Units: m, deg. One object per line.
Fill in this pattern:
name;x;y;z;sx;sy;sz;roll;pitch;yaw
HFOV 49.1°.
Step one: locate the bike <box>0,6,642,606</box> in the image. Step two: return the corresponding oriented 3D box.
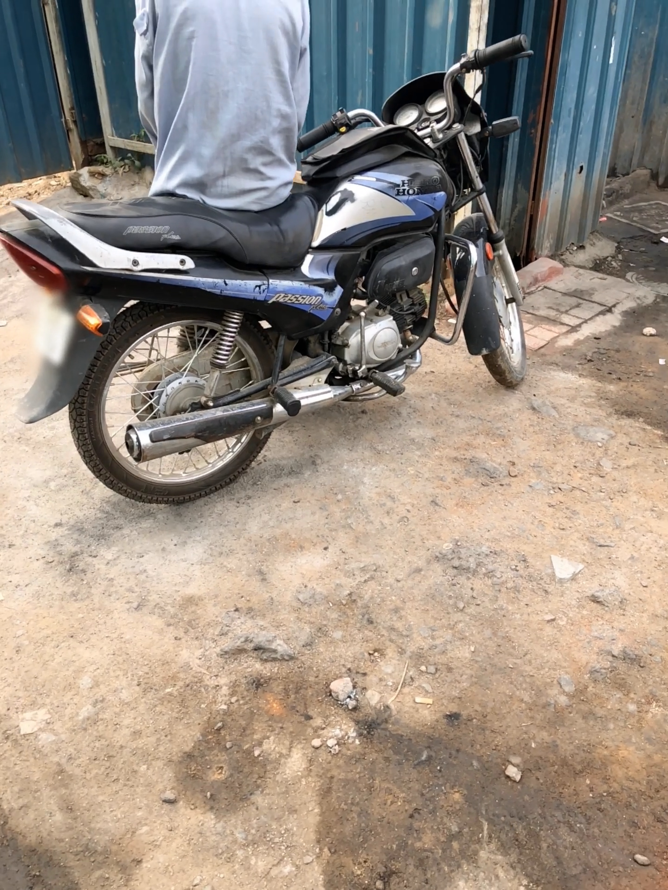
bike;-0.003;-0.612;2.234;1.807;1.154;0.786;-26;39;-32
